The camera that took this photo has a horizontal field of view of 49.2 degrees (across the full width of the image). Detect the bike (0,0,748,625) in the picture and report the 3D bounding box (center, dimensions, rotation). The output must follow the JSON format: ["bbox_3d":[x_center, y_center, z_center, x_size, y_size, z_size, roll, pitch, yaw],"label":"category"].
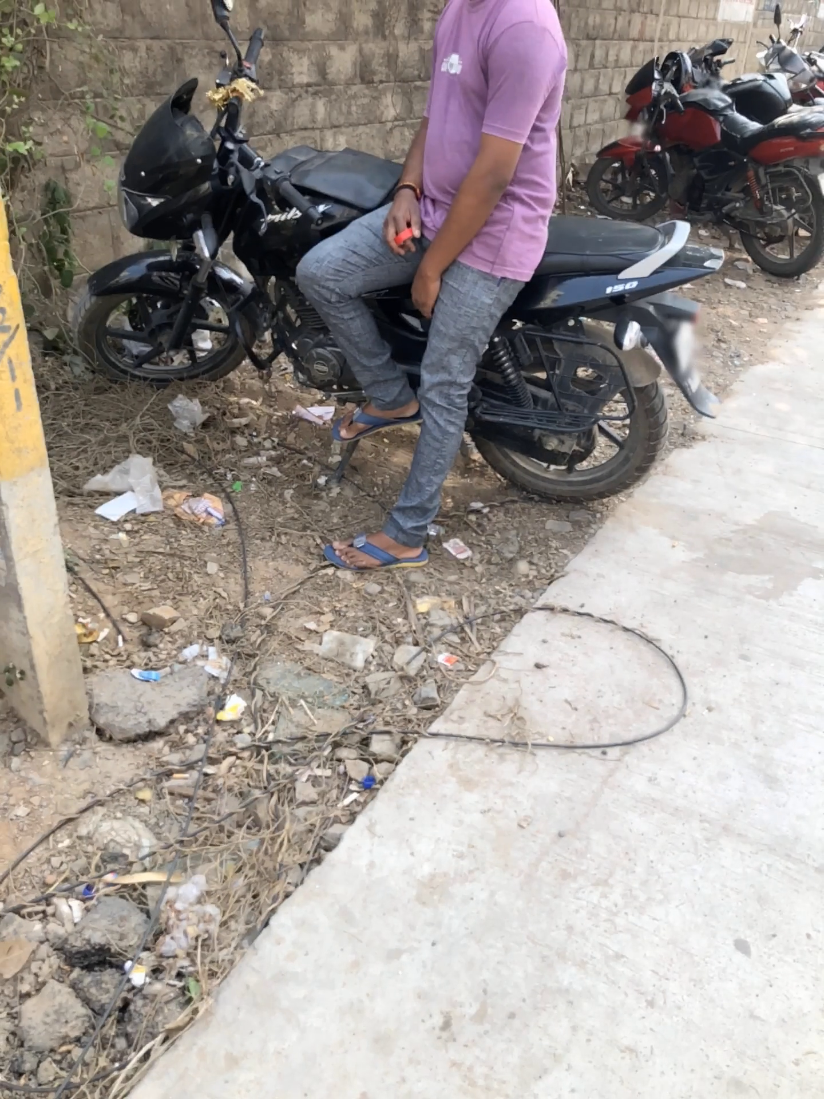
[{"bbox_3d":[-0.172,-0.700,2.420,1.810,1.215,0.819,10,31,7],"label":"bike"}]
